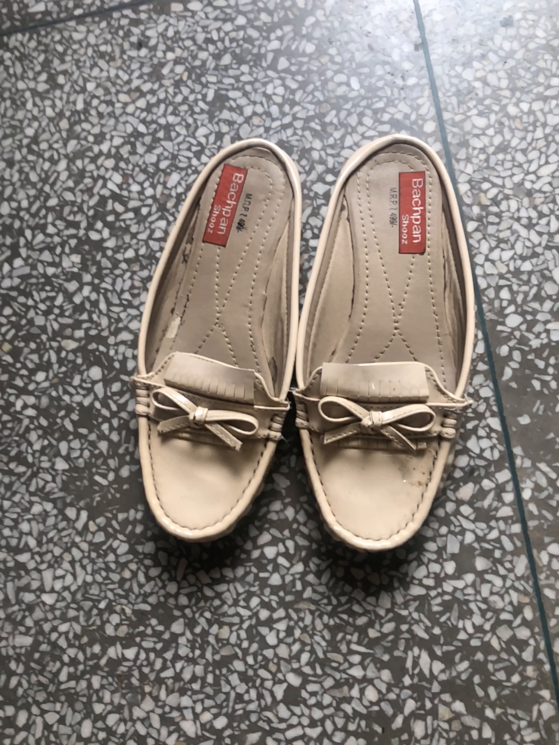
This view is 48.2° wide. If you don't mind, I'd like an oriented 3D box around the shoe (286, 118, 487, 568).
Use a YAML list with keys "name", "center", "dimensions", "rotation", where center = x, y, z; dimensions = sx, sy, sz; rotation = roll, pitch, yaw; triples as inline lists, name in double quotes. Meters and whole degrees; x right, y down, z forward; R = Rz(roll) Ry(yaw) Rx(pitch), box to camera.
- name: "shoe"
  center: [0.054, -0.017, 0.314]
  dimensions: [0.080, 0.040, 0.210]
  rotation: [4, 84, 8]

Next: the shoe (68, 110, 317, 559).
- name: "shoe"
  center: [-0.042, -0.023, 0.335]
  dimensions: [0.090, 0.040, 0.220]
  rotation: [8, 85, 9]
